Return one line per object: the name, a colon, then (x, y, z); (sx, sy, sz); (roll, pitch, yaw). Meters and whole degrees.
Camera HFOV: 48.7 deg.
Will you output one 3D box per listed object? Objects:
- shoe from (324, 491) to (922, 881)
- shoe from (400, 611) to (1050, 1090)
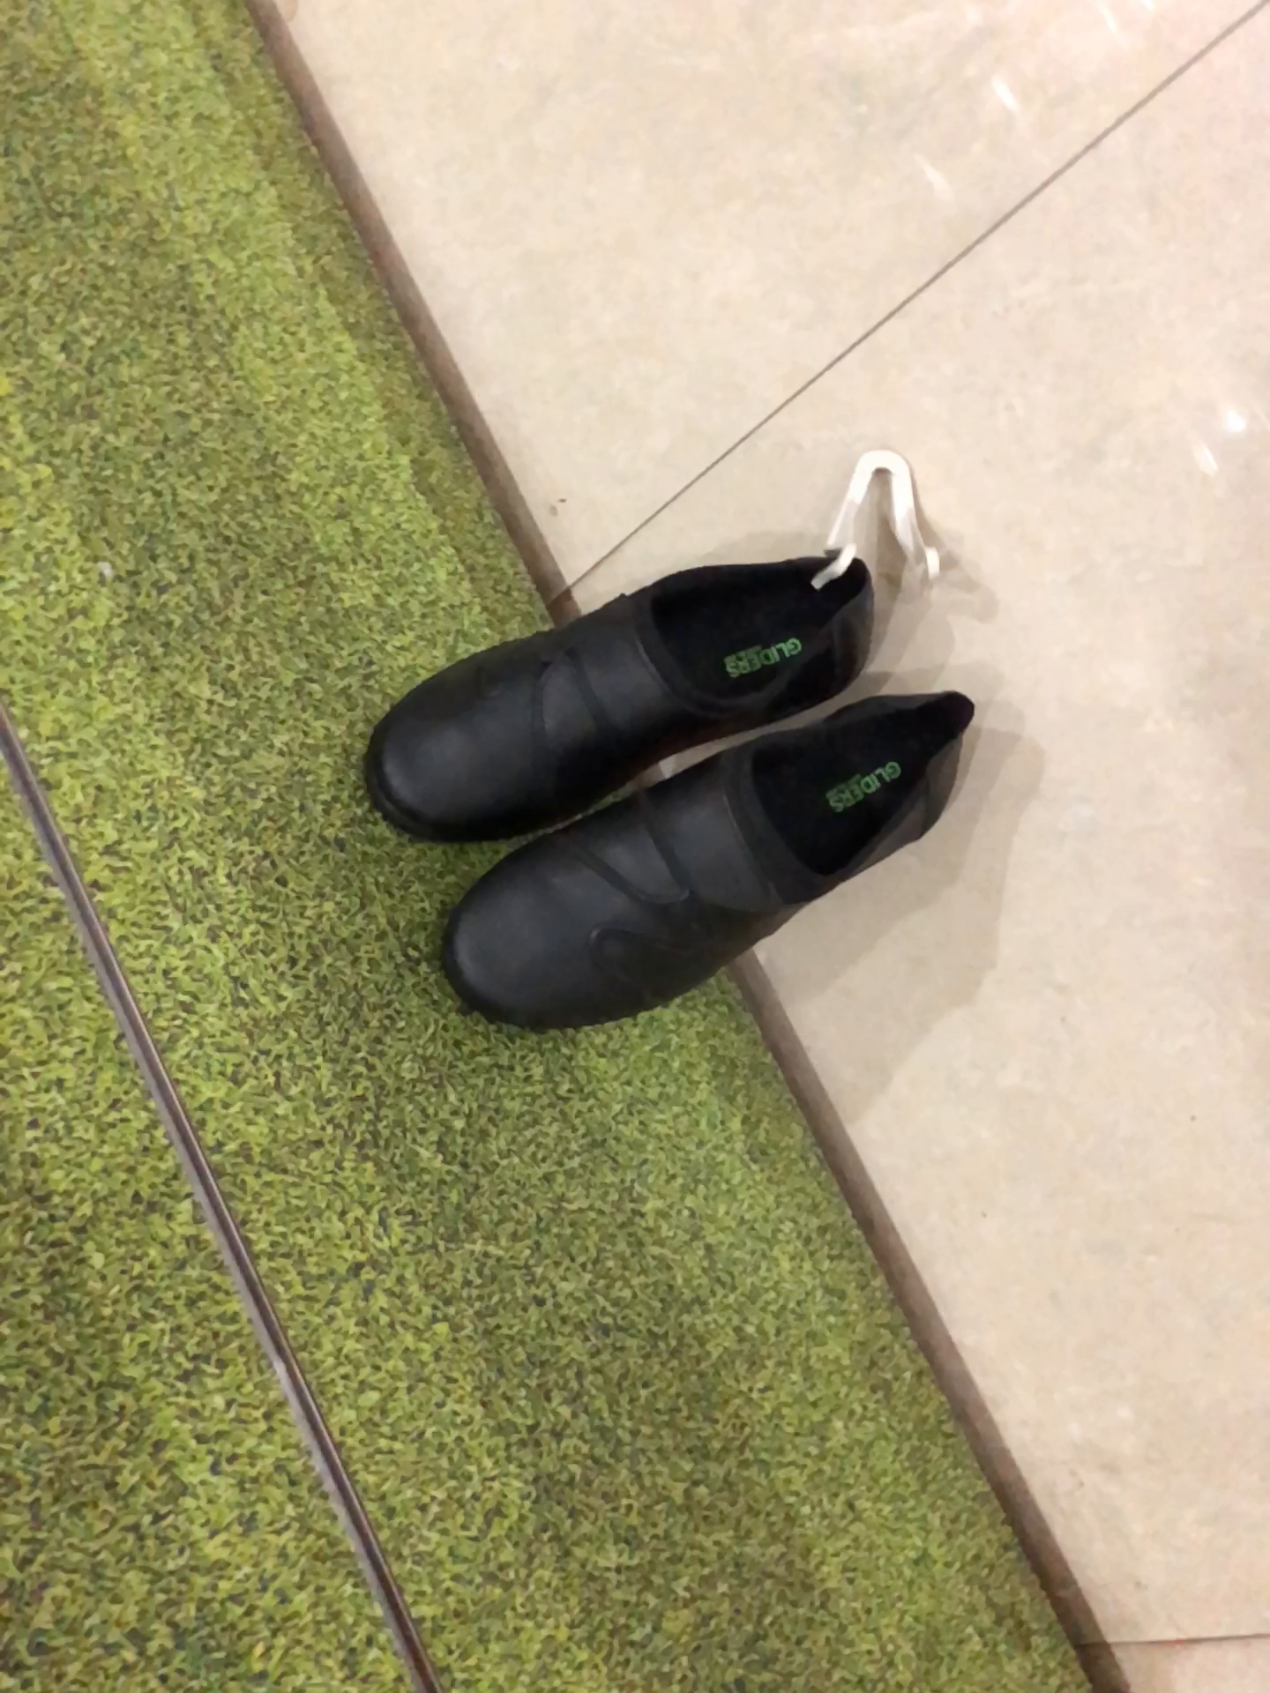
shoe: (-0.006, -0.066, 0.582); (0.074, 0.228, 0.067); (67, 165, 3)
shoe: (0.034, 0.007, 0.606); (0.087, 0.248, 0.107); (62, 171, 6)
